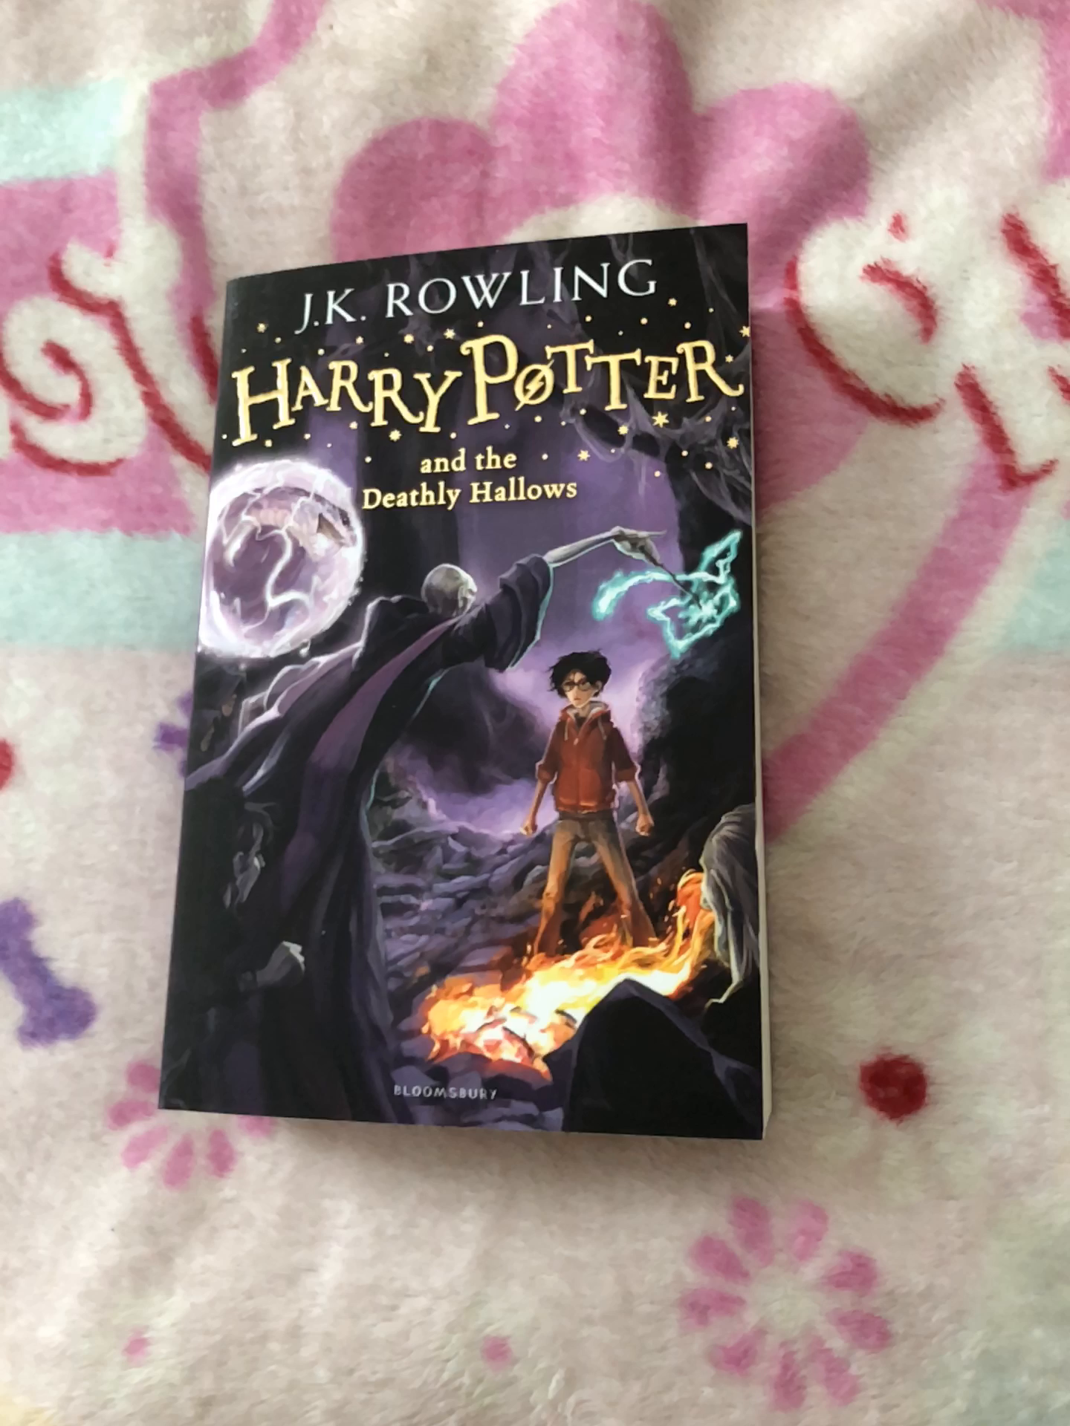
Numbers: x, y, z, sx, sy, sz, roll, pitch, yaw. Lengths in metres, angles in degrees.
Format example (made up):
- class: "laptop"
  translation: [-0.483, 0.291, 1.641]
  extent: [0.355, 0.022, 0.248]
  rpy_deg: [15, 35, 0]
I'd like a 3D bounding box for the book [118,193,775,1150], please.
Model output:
- class: "book"
  translation: [-0.013, -0.008, 0.270]
  extent: [0.126, 0.060, 0.187]
  rpy_deg: [-2, 78, 14]
